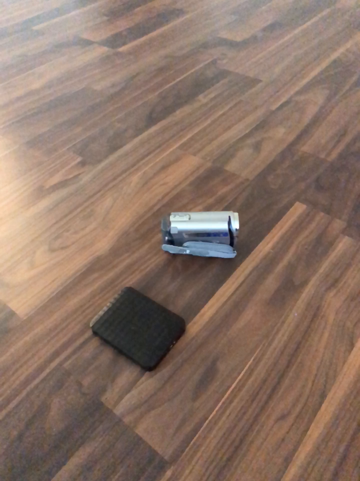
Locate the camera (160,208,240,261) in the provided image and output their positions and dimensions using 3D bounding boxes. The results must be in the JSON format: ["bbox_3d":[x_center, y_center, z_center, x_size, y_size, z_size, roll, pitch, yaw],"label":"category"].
[{"bbox_3d":[0.031,-0.009,0.612,0.115,0.065,0.048,0,46,4],"label":"camera"}]
